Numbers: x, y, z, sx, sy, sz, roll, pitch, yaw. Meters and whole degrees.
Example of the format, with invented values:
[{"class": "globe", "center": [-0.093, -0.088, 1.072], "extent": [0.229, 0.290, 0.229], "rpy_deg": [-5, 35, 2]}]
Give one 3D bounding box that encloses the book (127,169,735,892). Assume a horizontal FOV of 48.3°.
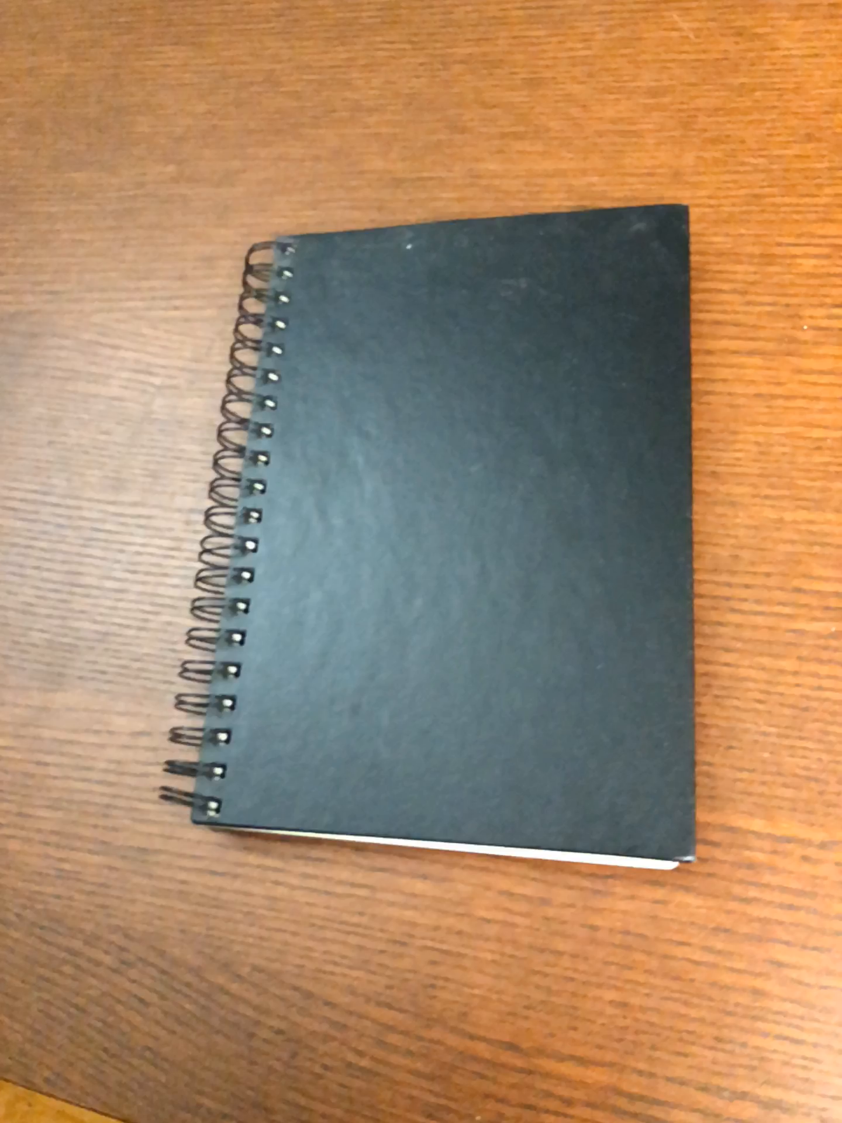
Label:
[{"class": "book", "center": [0.007, -0.020, 0.355], "extent": [0.200, 0.030, 0.260], "rpy_deg": [-1, 71, 15]}]
